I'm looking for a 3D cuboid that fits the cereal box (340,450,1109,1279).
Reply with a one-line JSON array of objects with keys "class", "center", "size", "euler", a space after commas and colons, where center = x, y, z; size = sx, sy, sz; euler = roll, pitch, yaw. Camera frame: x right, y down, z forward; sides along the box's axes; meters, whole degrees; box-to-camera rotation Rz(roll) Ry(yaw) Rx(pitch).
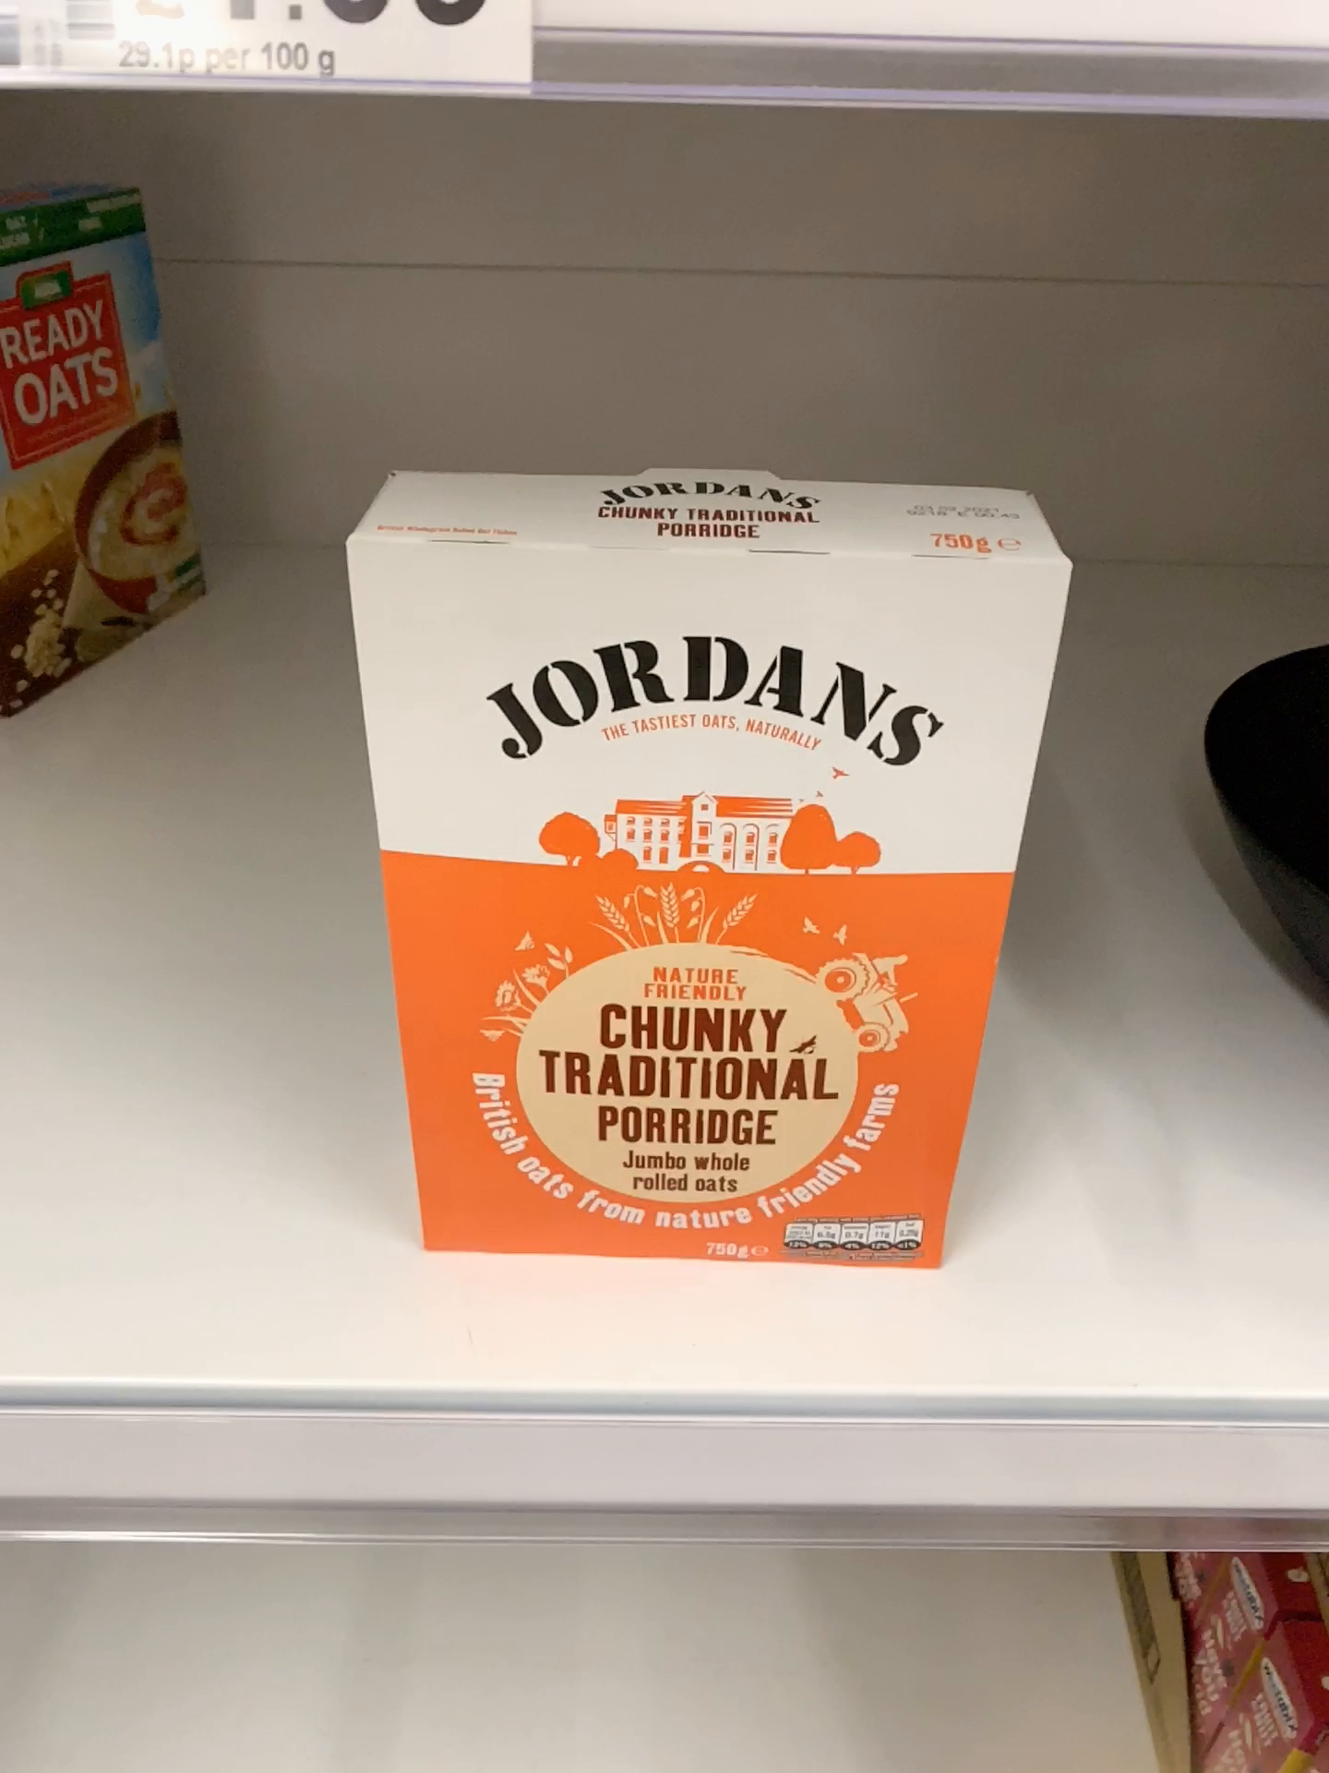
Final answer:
[{"class": "cereal box", "center": [0.012, 0.008, 0.437], "size": [0.190, 0.268, 0.061], "euler": [2, 33, 0]}]
